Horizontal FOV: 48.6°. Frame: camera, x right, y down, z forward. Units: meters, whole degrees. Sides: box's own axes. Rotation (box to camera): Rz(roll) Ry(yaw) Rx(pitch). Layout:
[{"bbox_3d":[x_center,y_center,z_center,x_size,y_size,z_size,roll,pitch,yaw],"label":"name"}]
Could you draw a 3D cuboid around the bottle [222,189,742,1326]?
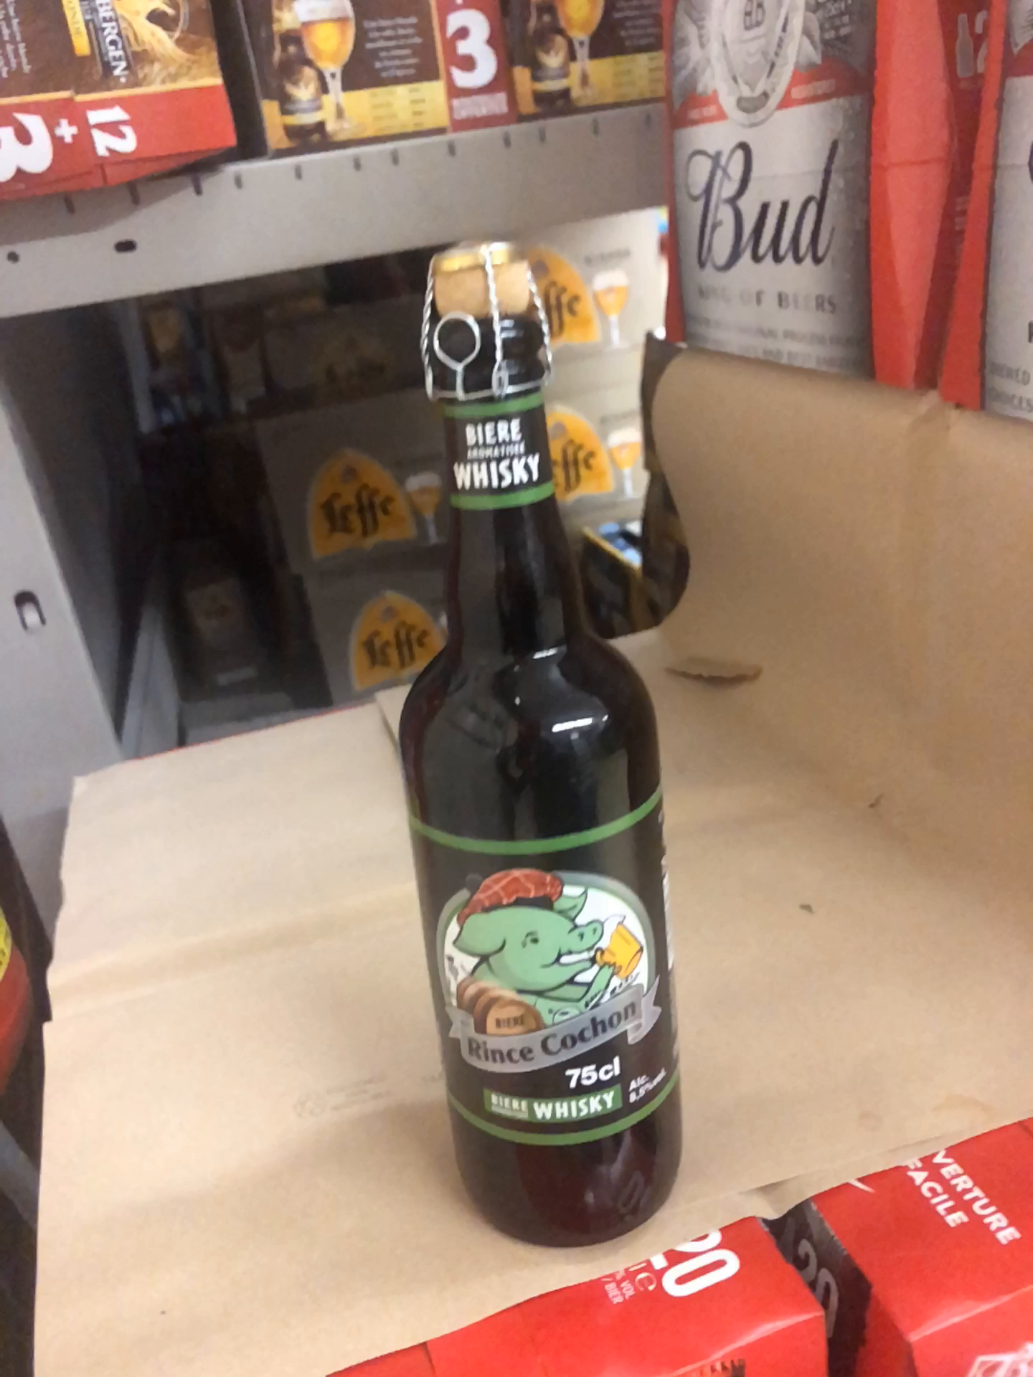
[{"bbox_3d":[-0.002,0.027,0.329,0.090,0.299,0.080,-9,19,-3],"label":"bottle"}]
